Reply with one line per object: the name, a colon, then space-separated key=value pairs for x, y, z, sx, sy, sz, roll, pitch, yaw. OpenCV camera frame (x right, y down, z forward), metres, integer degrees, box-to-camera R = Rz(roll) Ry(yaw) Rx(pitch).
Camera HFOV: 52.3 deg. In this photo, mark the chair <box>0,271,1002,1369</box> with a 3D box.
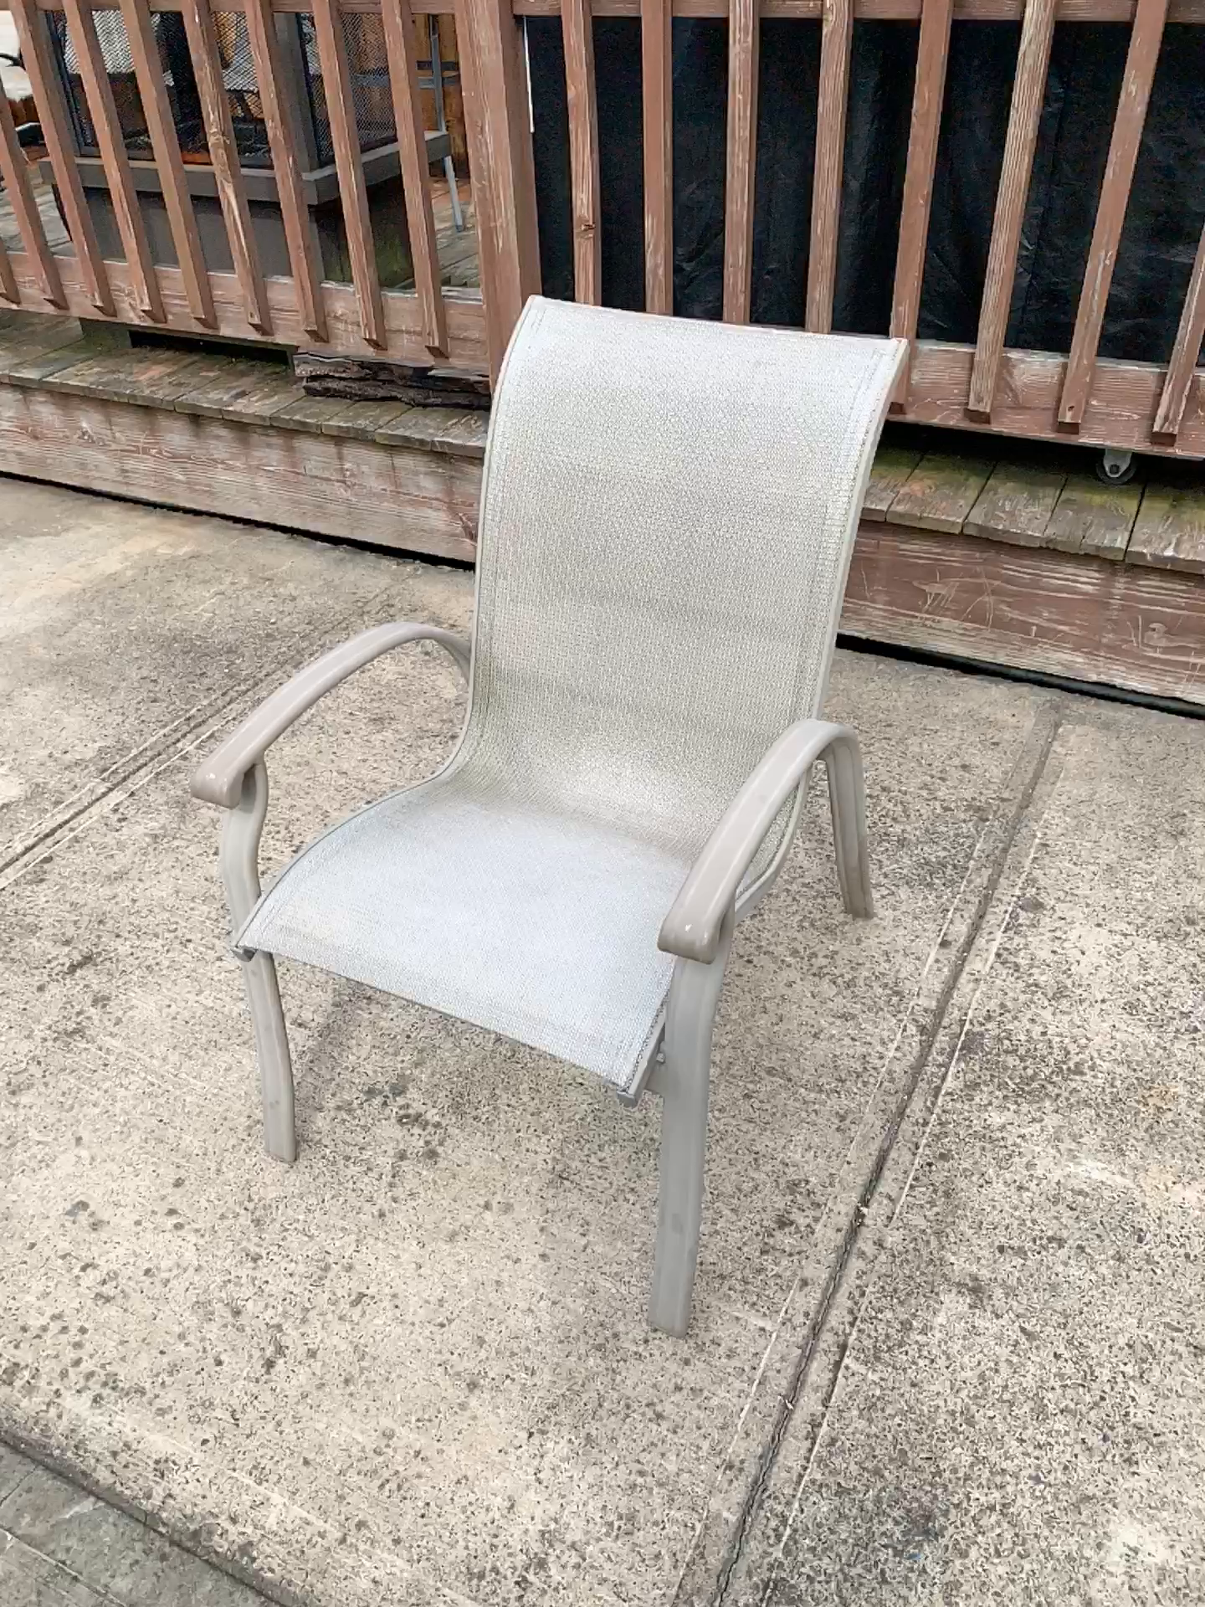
chair: x=-0.022 y=-0.048 z=1.429 sx=0.651 sy=0.845 sz=0.793 roll=16 pitch=40 yaw=22
